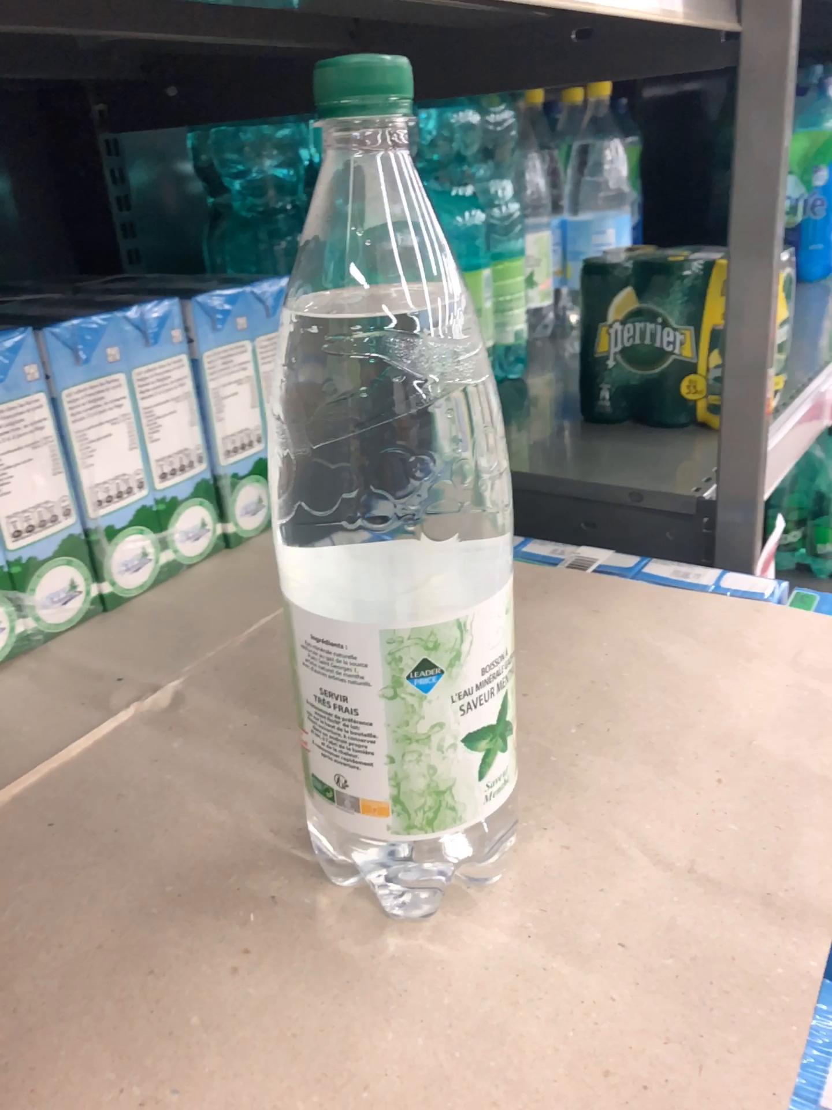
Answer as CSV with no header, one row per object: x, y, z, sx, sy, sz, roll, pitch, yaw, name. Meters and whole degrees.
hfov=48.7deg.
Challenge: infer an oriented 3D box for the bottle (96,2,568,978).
-0.012,-0.014,0.327,0.090,0.298,0.101,12,29,35,bottle
